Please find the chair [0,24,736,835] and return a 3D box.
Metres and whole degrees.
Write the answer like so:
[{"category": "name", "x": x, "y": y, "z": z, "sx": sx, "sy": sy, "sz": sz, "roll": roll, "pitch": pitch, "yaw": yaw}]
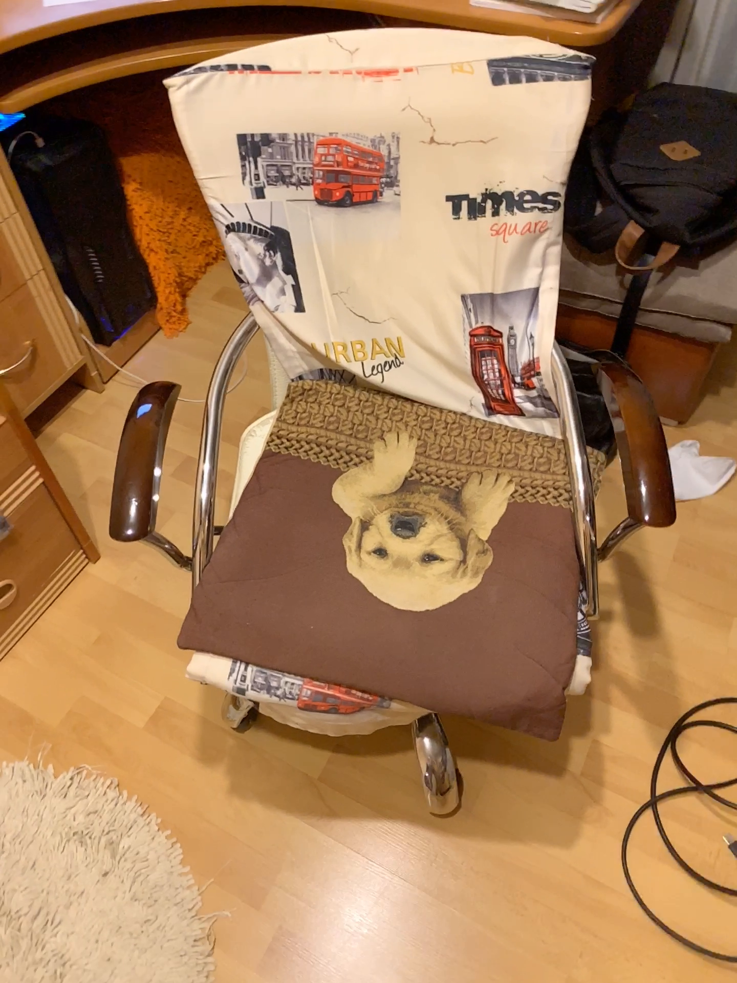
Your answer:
[{"category": "chair", "x": 0.026, "y": -0.019, "z": 0.809, "sx": 0.474, "sy": 0.665, "sz": 0.568, "roll": 0, "pitch": 52, "yaw": 1}]
